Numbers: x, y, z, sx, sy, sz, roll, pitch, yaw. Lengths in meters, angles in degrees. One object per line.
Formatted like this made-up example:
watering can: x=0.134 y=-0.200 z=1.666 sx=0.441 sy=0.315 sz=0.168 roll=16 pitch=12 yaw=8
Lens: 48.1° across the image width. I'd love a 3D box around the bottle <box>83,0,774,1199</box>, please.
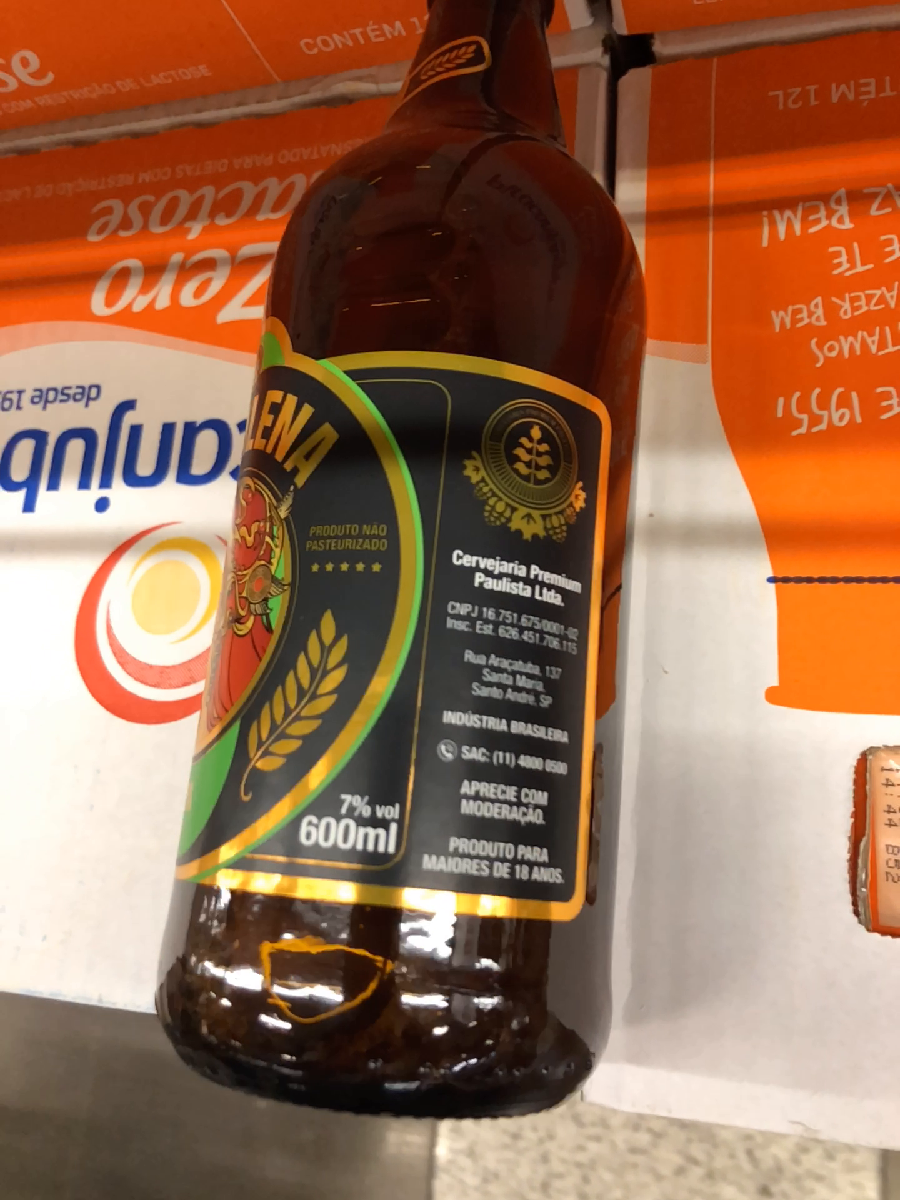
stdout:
bottle: x=0.012 y=-0.051 z=0.202 sx=0.100 sy=0.060 sz=0.280 roll=0 pitch=75 yaw=18
